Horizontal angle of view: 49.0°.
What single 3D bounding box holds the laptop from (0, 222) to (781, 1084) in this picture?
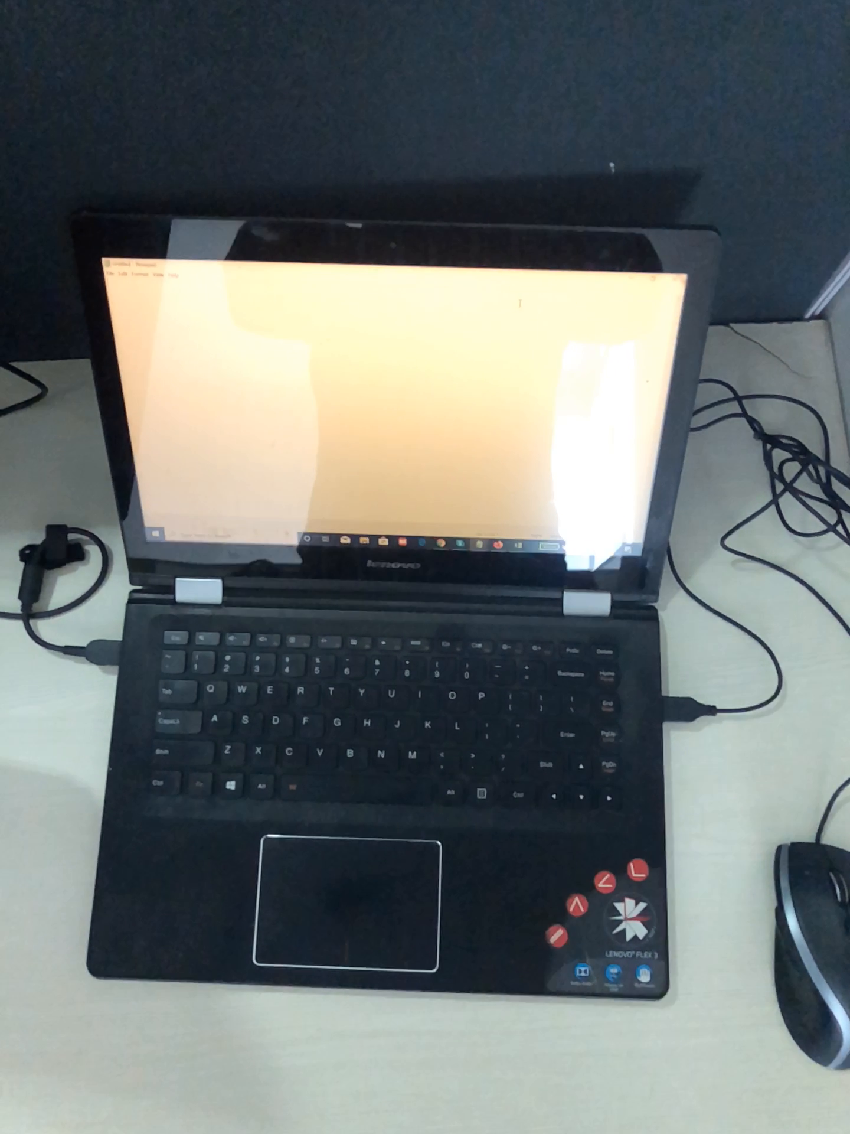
[{"bbox_3d":[-0.022,0.035,0.508,0.334,0.171,0.386,2,74,1],"label":"laptop"}]
